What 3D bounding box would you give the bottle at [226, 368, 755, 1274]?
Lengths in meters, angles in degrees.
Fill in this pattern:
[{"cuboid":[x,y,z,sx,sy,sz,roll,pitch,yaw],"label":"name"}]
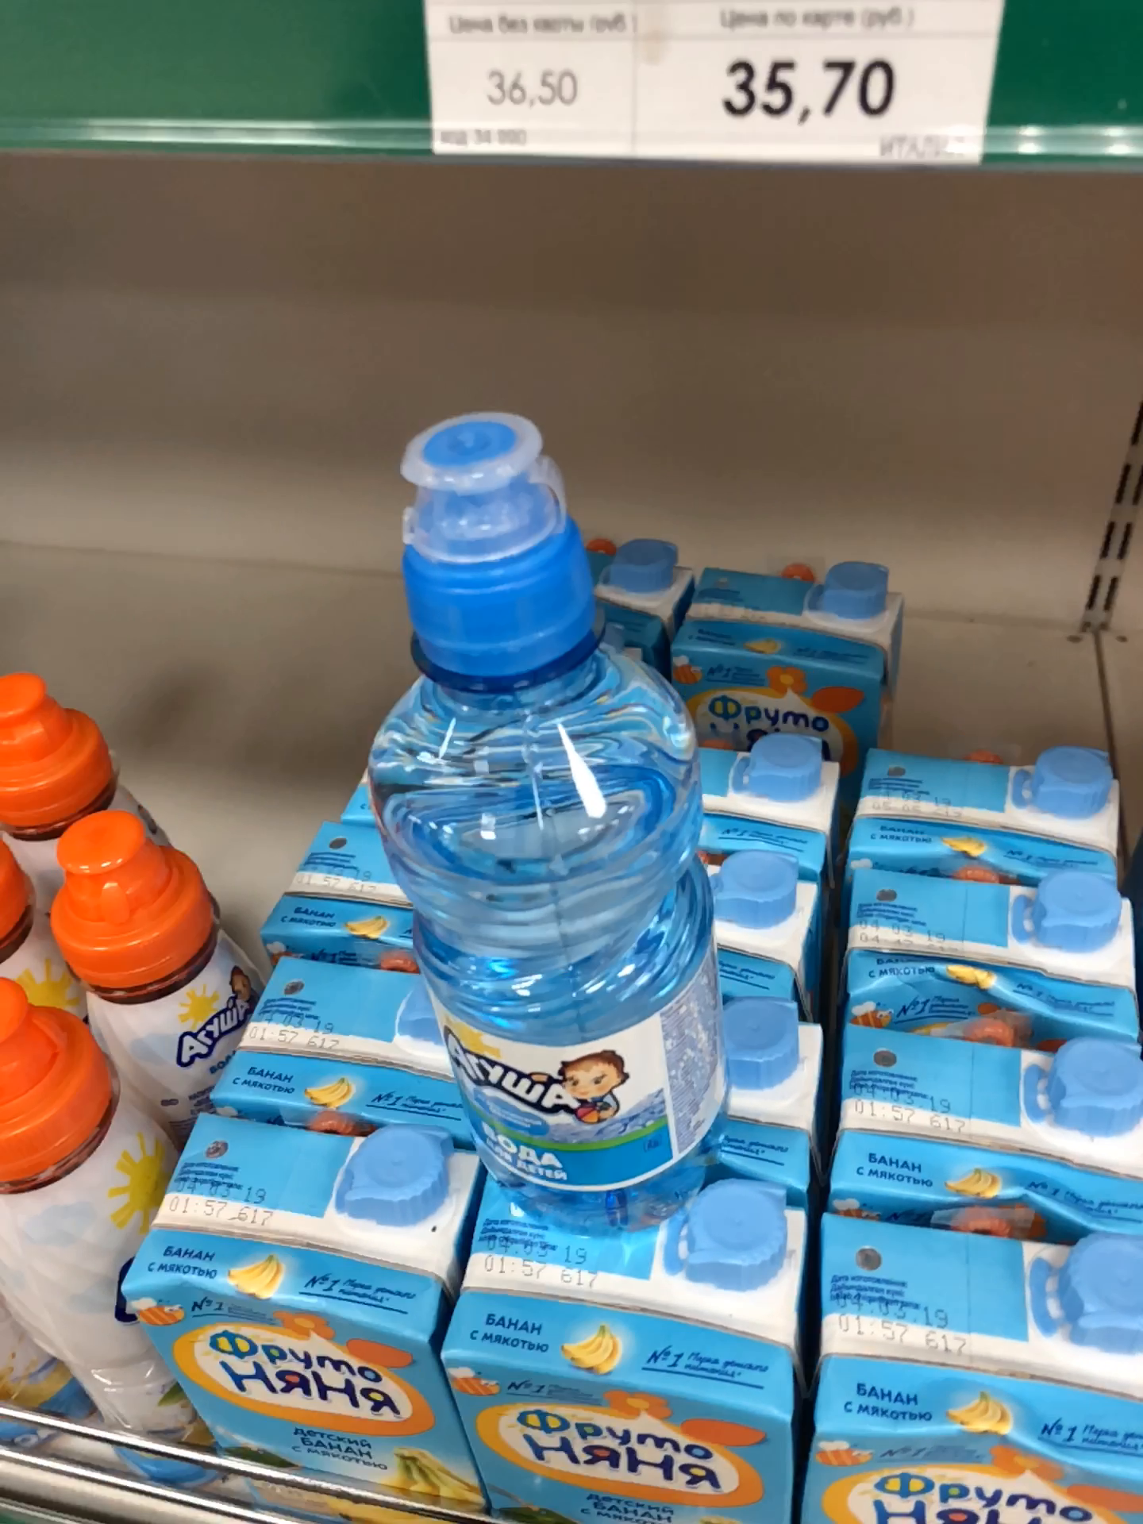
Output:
[{"cuboid":[-0.002,0.021,0.243,0.060,0.173,0.056,-4,41,4],"label":"bottle"}]
